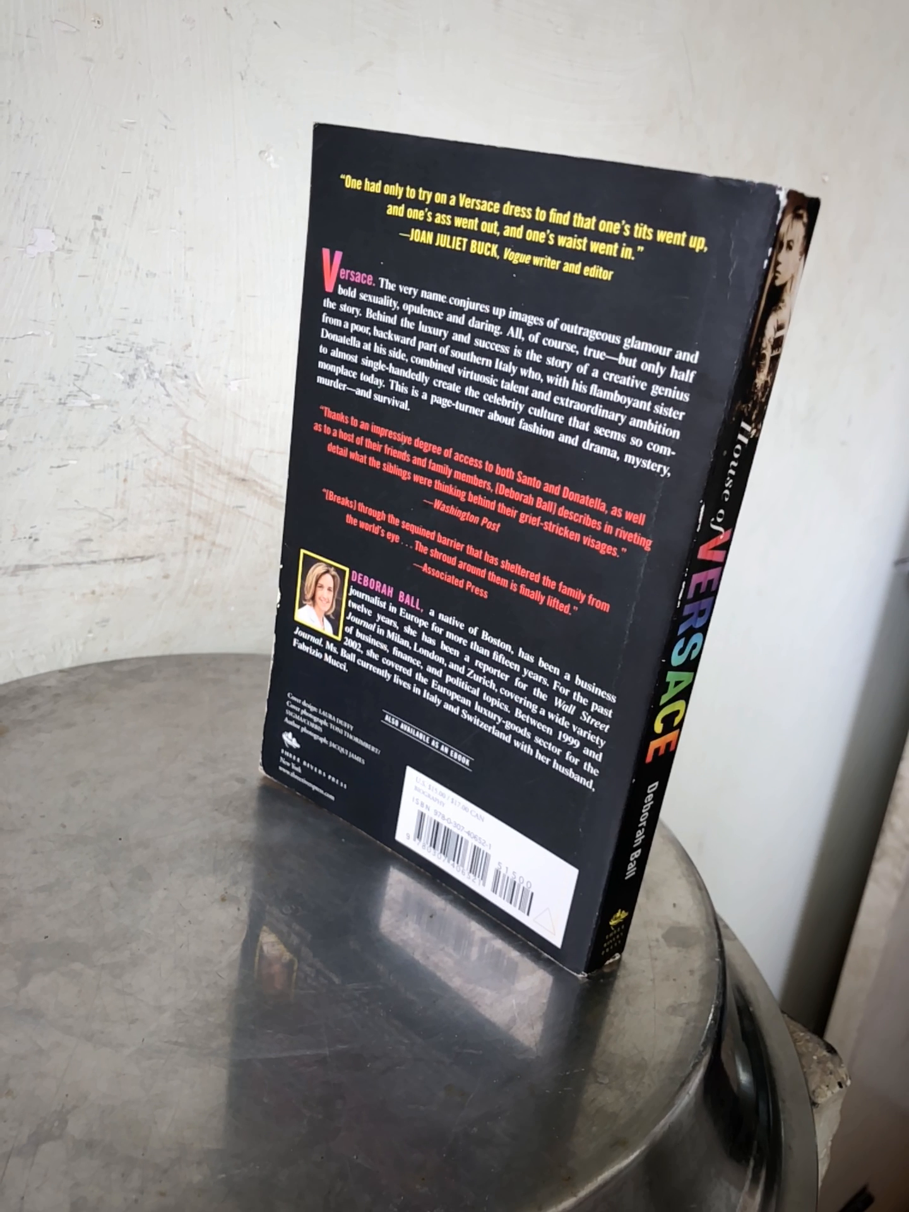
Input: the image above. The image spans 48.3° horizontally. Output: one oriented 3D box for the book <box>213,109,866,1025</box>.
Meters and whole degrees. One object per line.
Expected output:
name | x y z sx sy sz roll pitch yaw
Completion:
book | 0.001 -0.025 0.304 0.040 0.219 0.180 -11 26 -44
